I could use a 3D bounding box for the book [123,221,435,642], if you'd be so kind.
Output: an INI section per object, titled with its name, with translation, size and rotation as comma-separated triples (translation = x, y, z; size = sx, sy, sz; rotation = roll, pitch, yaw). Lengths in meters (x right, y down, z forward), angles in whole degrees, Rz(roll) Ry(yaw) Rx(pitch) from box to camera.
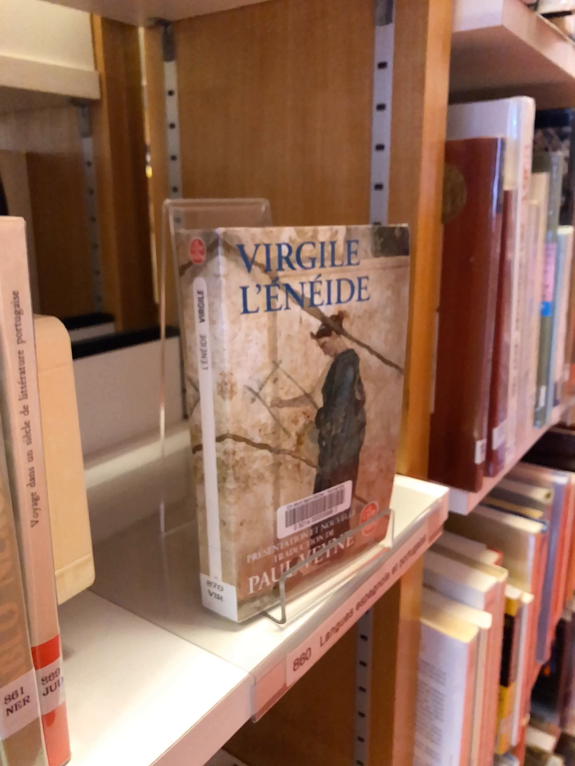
[book]
translation = 0.002, 0.008, 0.319
size = 0.073, 0.168, 0.132
rotation = 13, 20, 42
